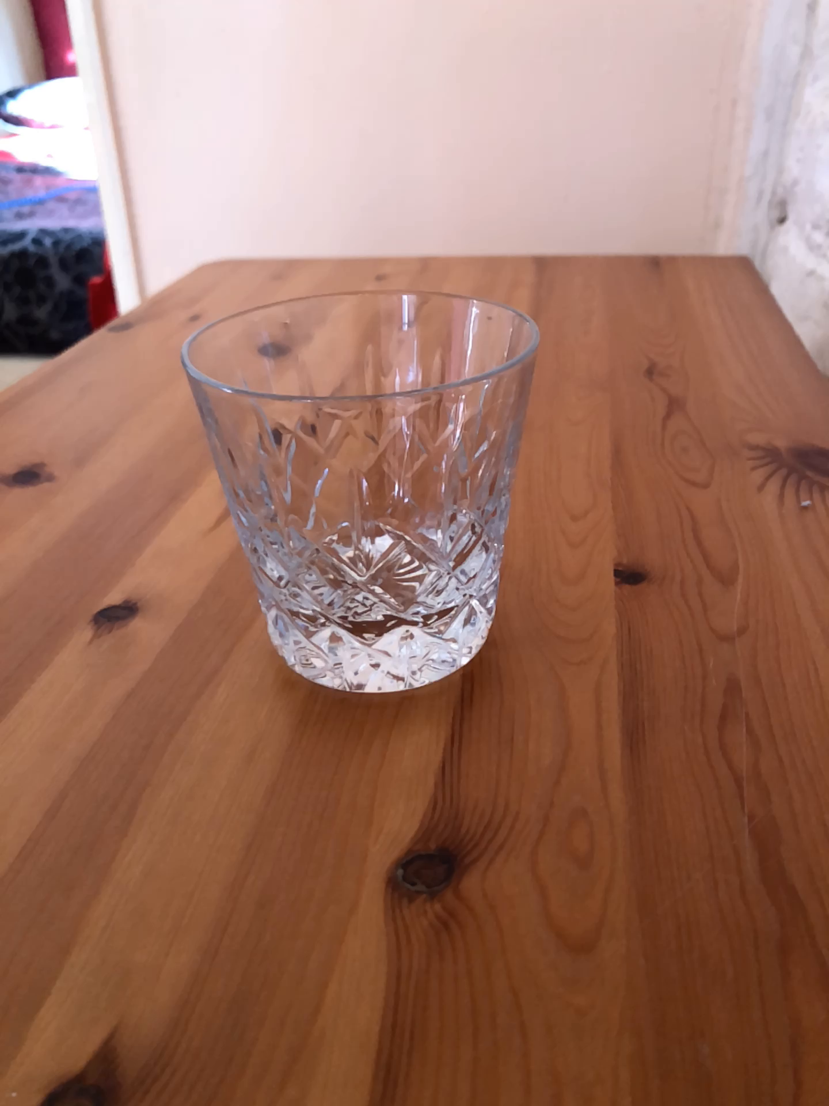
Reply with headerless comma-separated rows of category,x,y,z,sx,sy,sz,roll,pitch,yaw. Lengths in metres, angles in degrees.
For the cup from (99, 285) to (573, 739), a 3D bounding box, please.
cup,-0.008,-0.015,0.204,0.076,0.068,0.078,-3,29,2
